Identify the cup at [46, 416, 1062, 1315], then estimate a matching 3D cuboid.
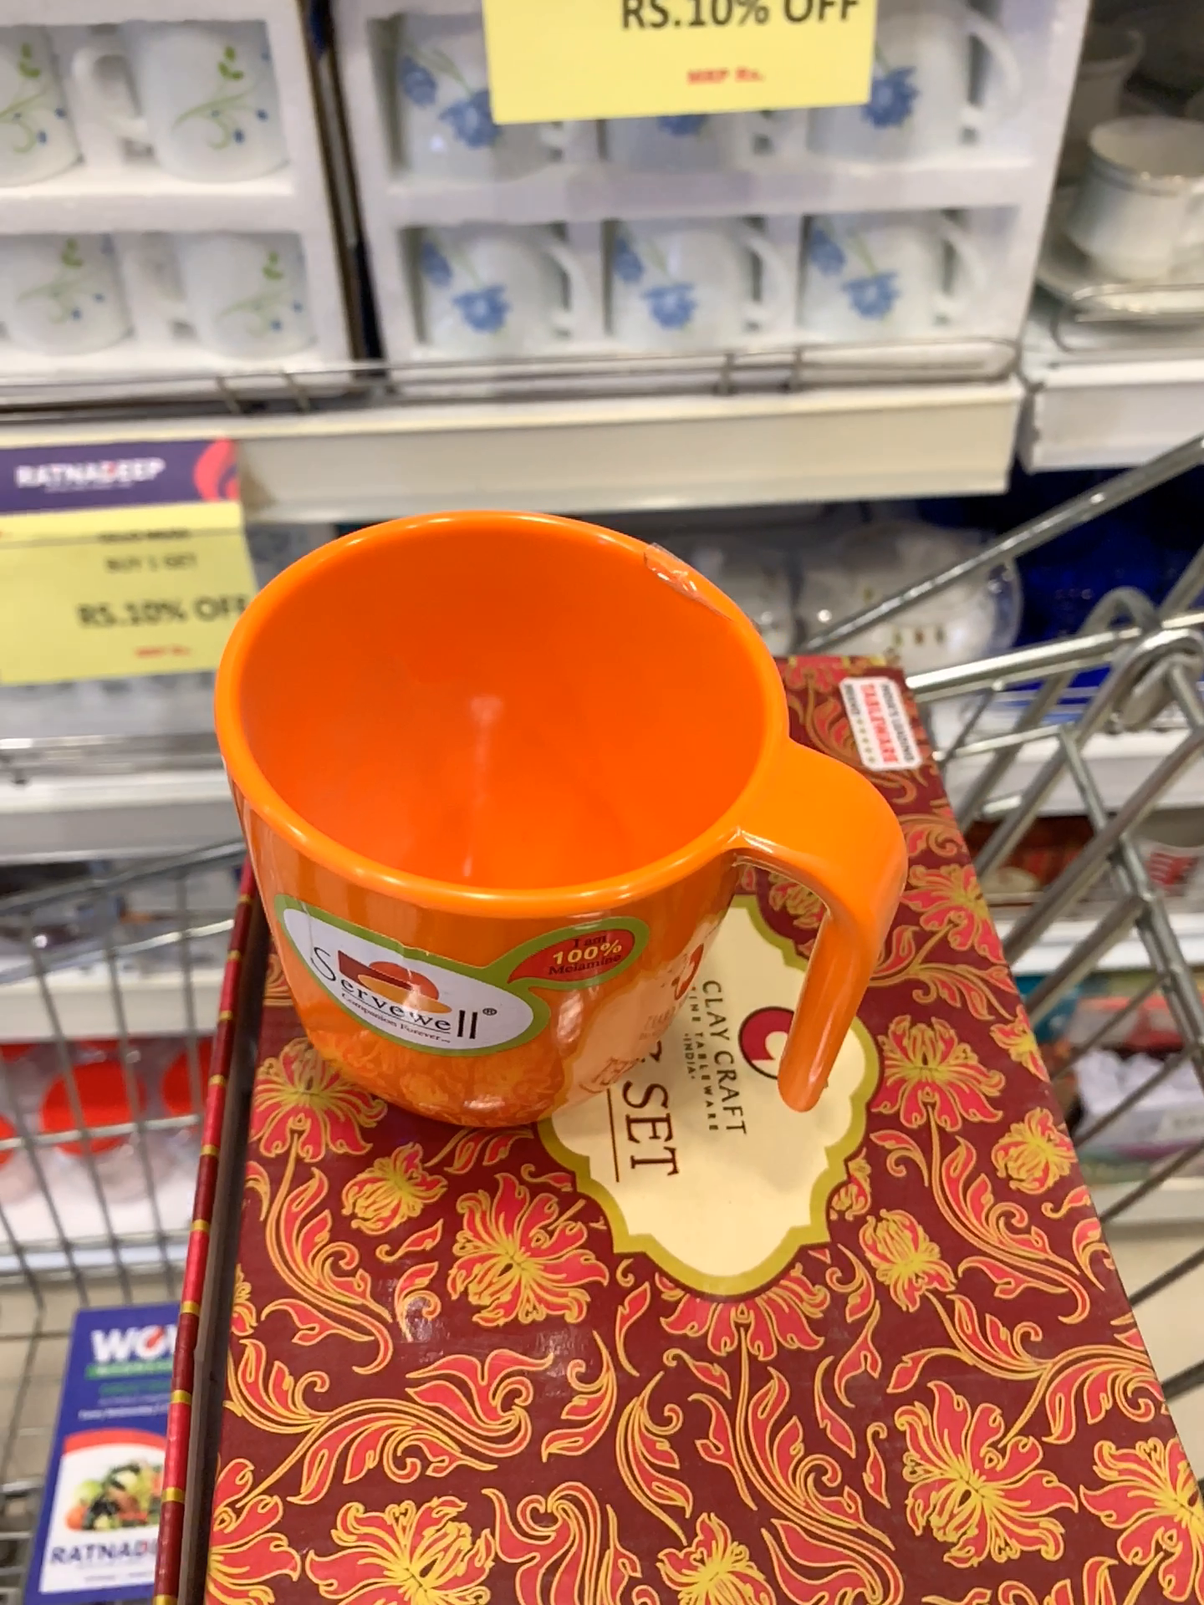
[{"bbox_3d":[-0.002,0.007,0.189,0.110,0.070,0.080,18,51,9],"label":"cup"}]
